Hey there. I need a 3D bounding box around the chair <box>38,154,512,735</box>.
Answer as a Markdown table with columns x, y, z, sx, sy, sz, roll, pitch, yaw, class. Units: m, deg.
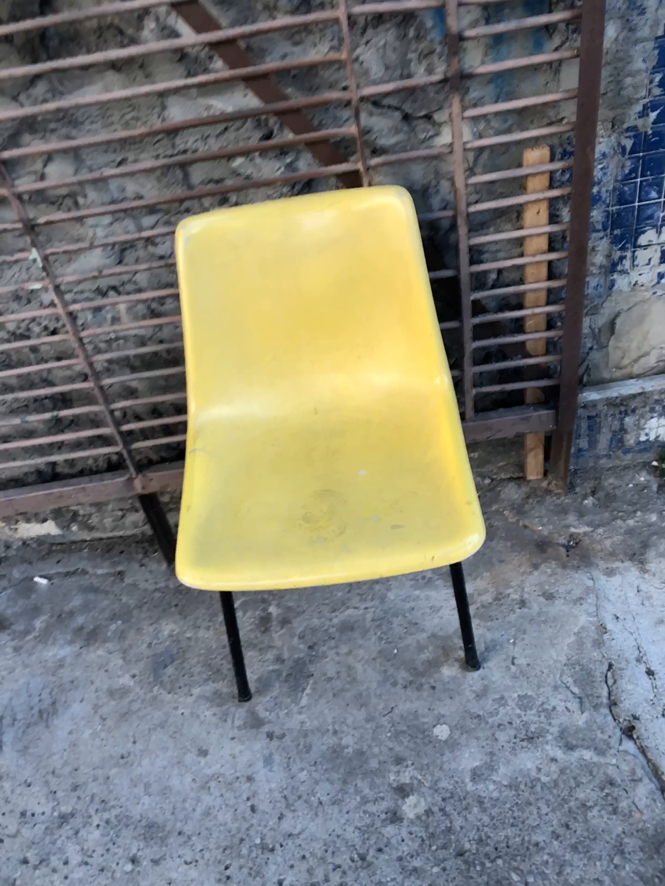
| x | y | z | sx | sy | sz | roll | pitch | yaw | class |
| --- | --- | --- | --- | --- | --- | --- | --- | --- | --- |
| -0.015 | 0.026 | 1.144 | 0.480 | 0.715 | 0.473 | -8 | 38 | 5 | chair |
